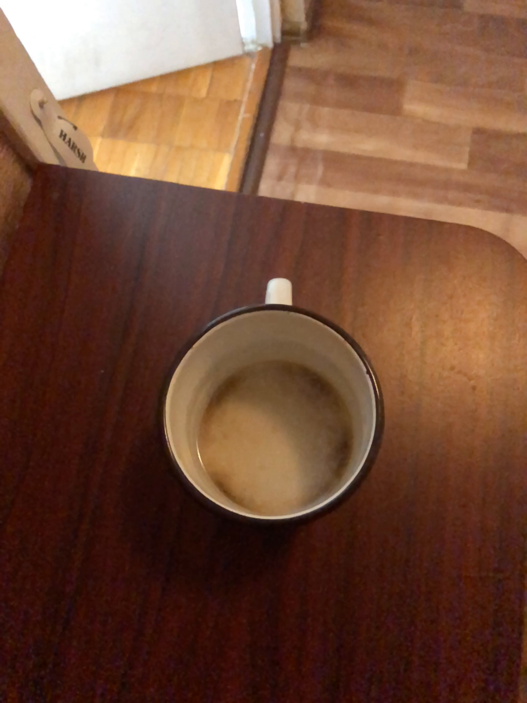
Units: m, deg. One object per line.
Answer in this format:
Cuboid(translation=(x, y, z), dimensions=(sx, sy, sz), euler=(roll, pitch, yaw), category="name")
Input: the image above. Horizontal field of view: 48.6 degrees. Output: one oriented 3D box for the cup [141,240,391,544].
Cuboid(translation=(0.009, 0.030, 0.364), dimensions=(0.118, 0.114, 0.156), euler=(4, 74, 6), category="cup")
